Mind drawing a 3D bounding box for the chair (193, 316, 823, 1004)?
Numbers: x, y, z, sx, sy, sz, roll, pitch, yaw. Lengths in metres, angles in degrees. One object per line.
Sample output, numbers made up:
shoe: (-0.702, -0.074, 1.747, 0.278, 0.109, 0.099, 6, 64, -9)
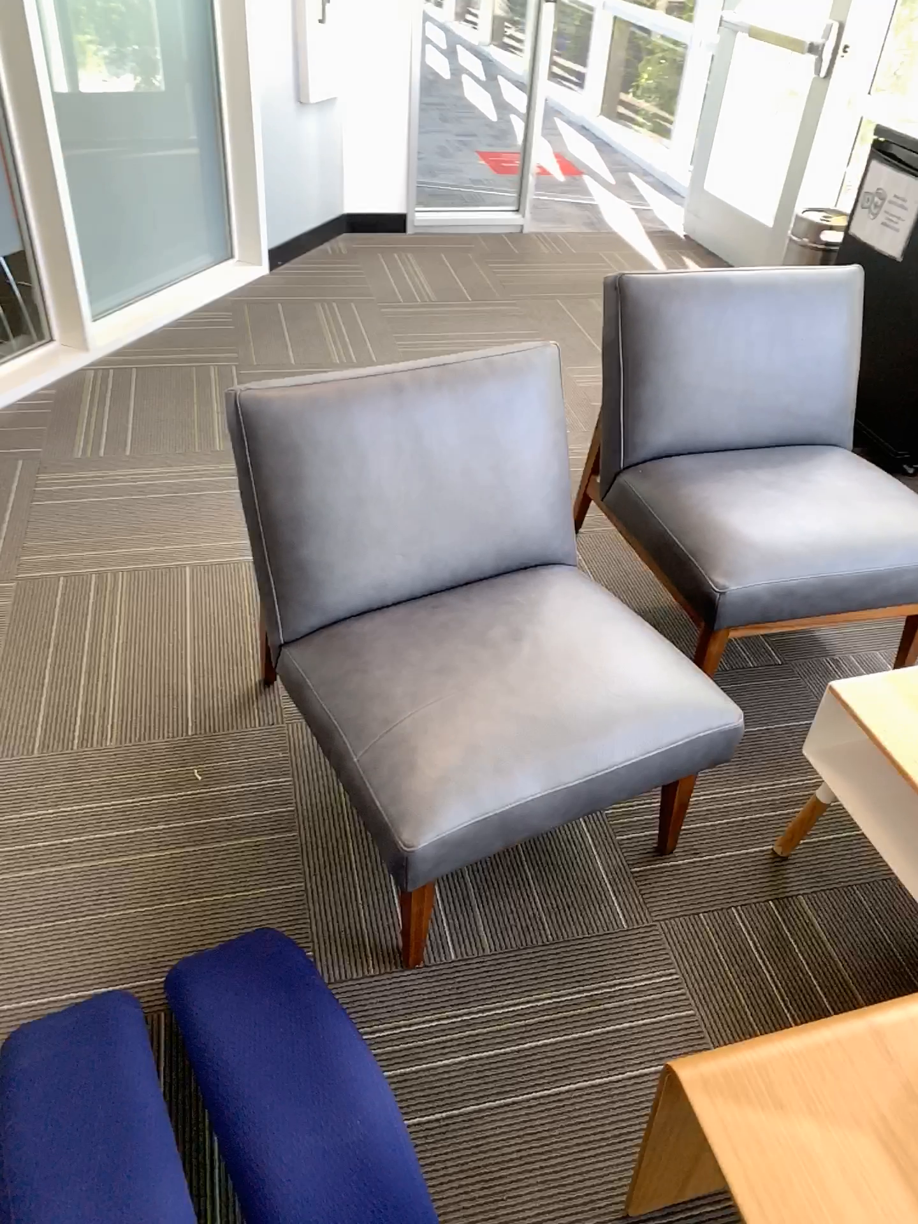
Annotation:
chair: (0.001, 0.020, 1.735, 0.681, 0.765, 0.854, -15, 42, -24)

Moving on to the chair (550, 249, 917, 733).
chair: (0.769, -0.339, 2.266, 0.740, 0.765, 0.855, -8, 40, -16)
